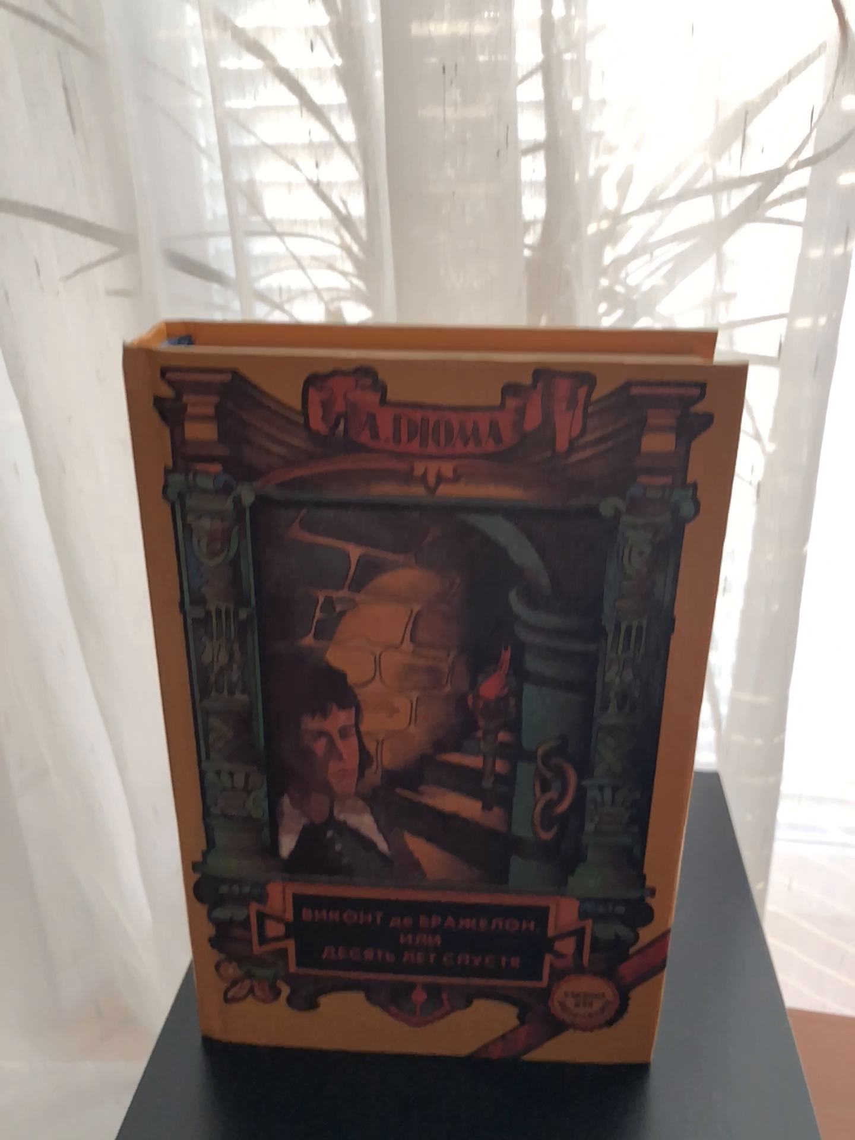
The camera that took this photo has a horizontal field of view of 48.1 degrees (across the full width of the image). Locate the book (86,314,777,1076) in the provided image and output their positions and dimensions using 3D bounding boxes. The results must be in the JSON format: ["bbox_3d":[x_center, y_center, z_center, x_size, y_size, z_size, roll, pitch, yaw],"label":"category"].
[{"bbox_3d":[0.002,0.041,0.260,0.142,0.209,0.045,1,24,4],"label":"book"}]
